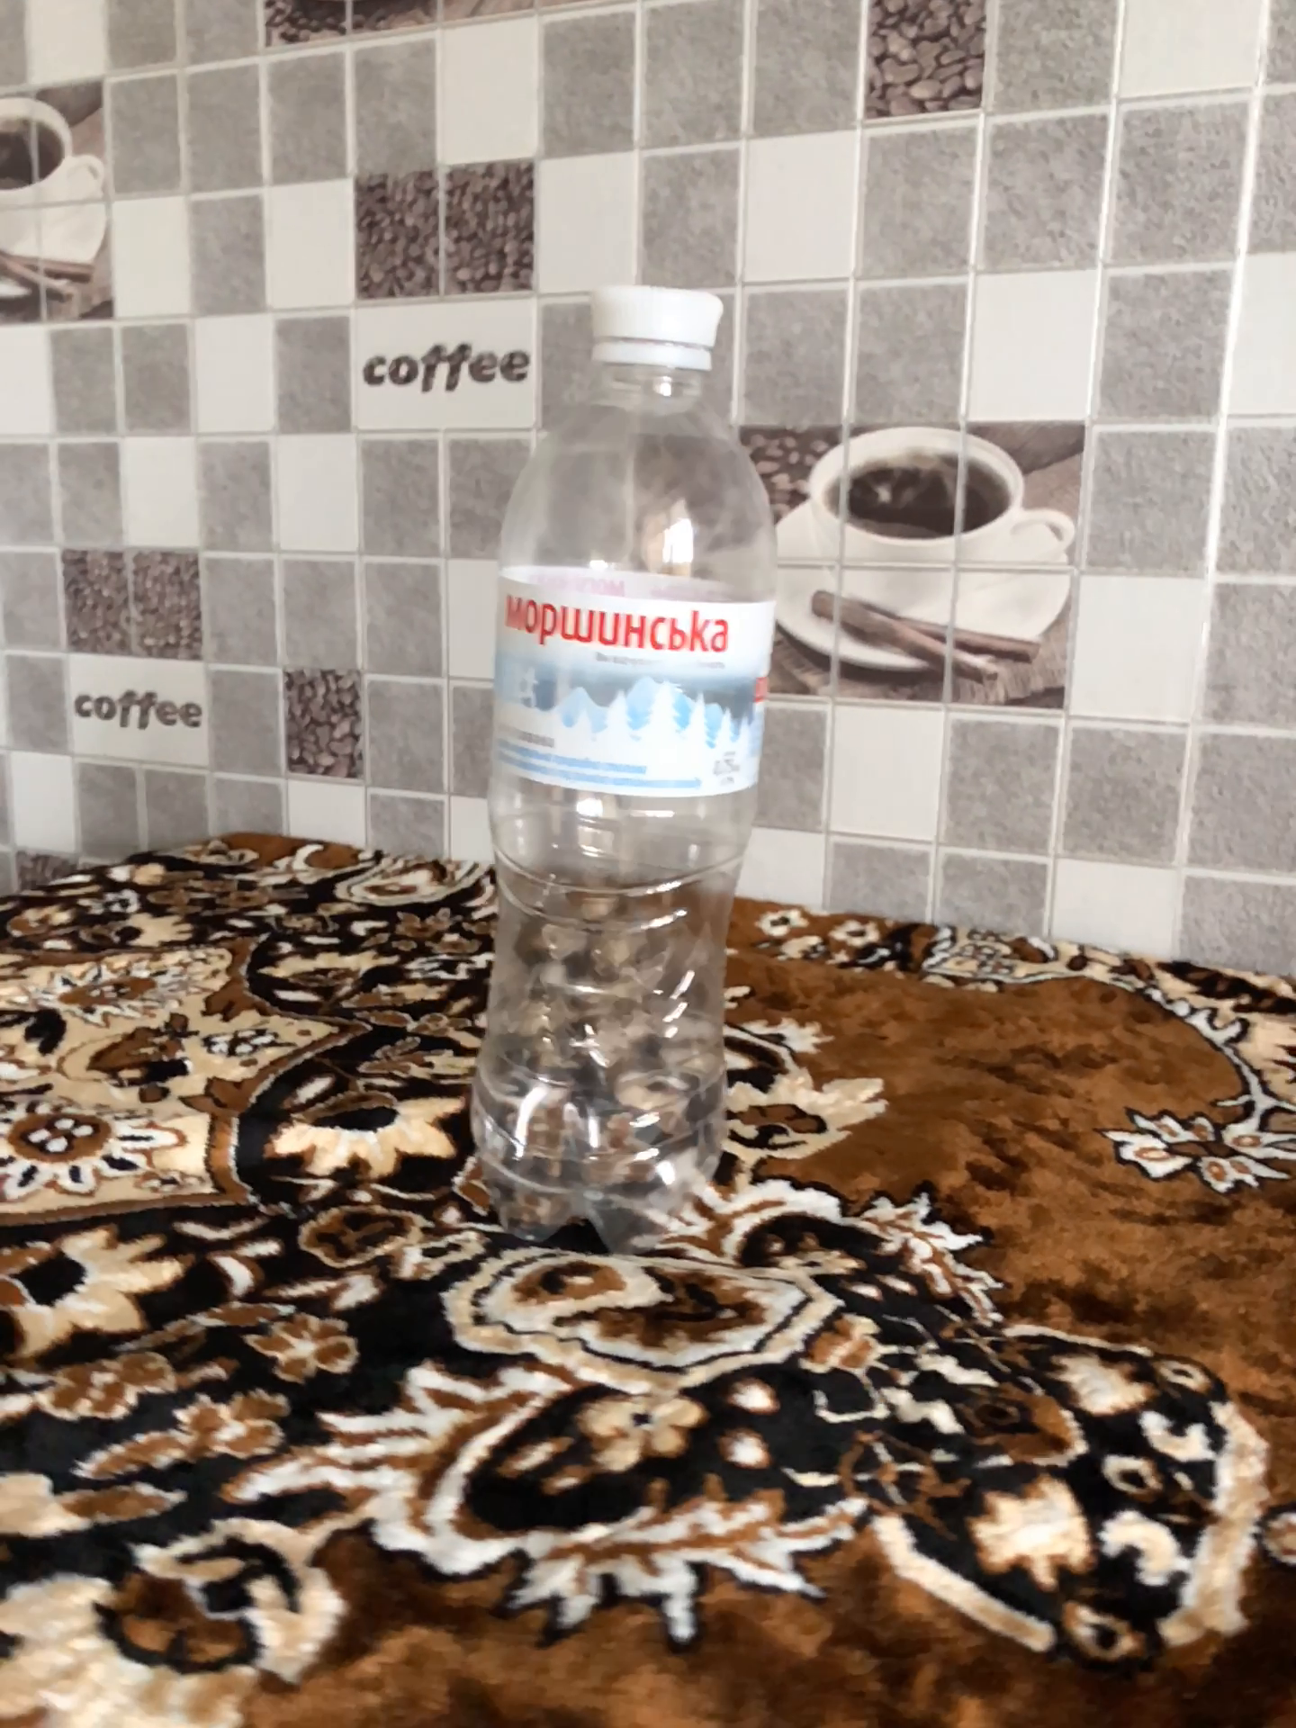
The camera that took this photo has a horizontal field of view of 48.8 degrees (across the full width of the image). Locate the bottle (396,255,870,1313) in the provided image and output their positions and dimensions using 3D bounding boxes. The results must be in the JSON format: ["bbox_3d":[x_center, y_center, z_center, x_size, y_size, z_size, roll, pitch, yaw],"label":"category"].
[{"bbox_3d":[-0.006,-0.023,0.382,0.090,0.249,0.080,9,15,21],"label":"bottle"}]
